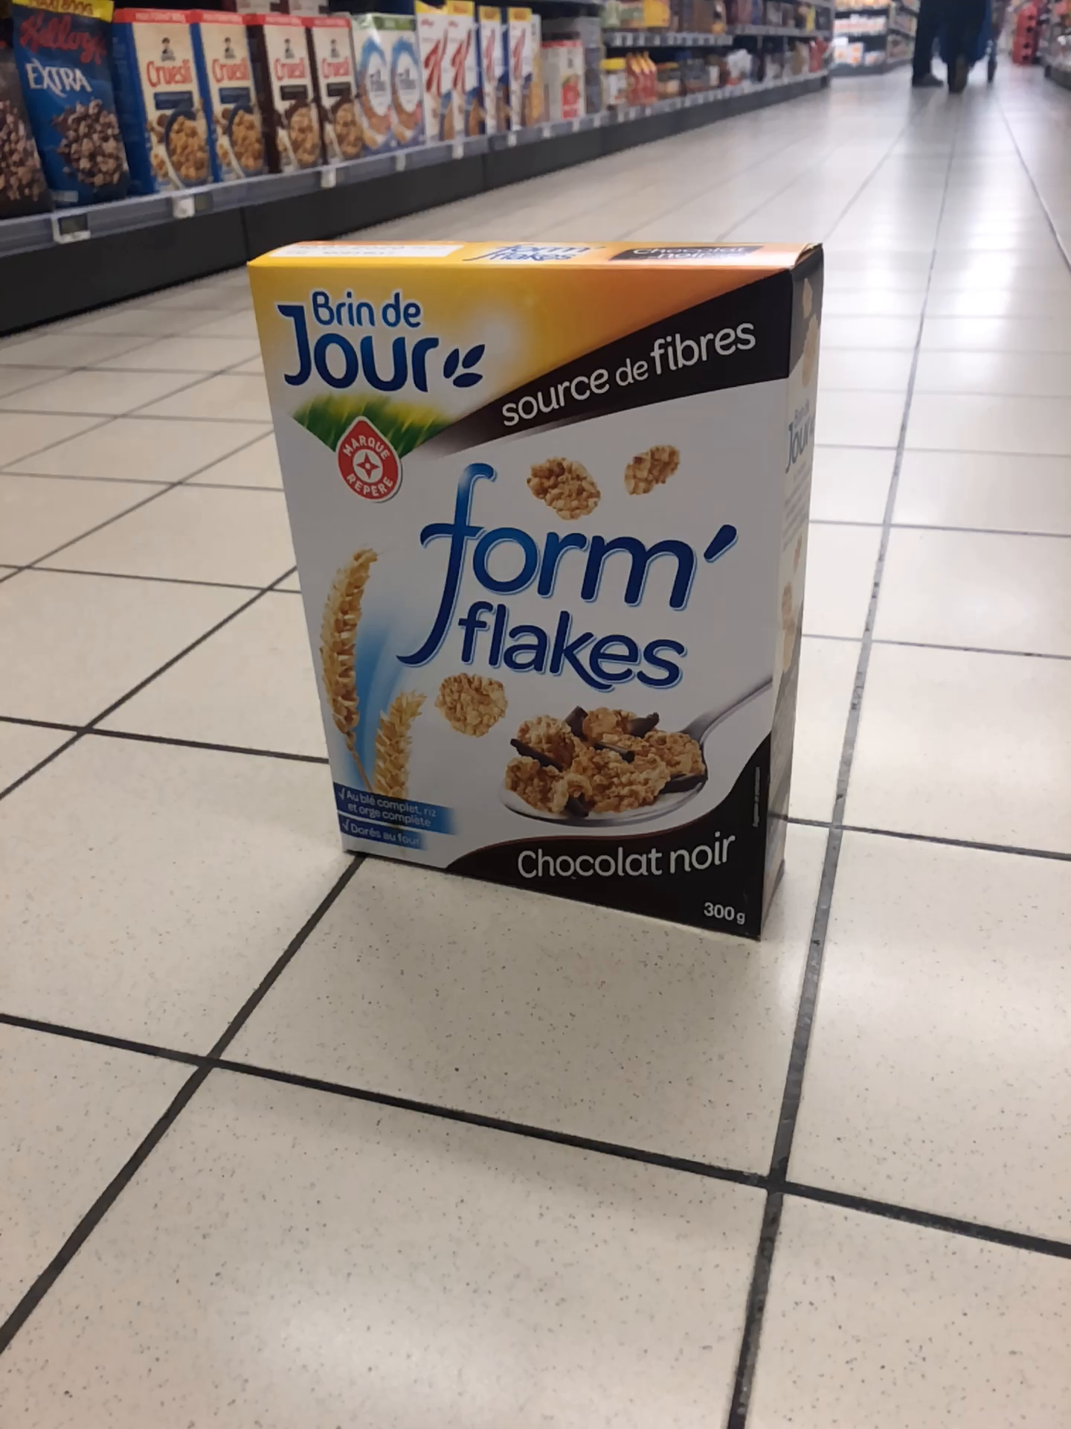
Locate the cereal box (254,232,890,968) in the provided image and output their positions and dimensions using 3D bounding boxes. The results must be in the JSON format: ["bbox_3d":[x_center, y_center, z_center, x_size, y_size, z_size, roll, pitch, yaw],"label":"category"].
[{"bbox_3d":[0.016,-0.046,0.449,0.200,0.249,0.070,9,30,22],"label":"cereal box"}]
